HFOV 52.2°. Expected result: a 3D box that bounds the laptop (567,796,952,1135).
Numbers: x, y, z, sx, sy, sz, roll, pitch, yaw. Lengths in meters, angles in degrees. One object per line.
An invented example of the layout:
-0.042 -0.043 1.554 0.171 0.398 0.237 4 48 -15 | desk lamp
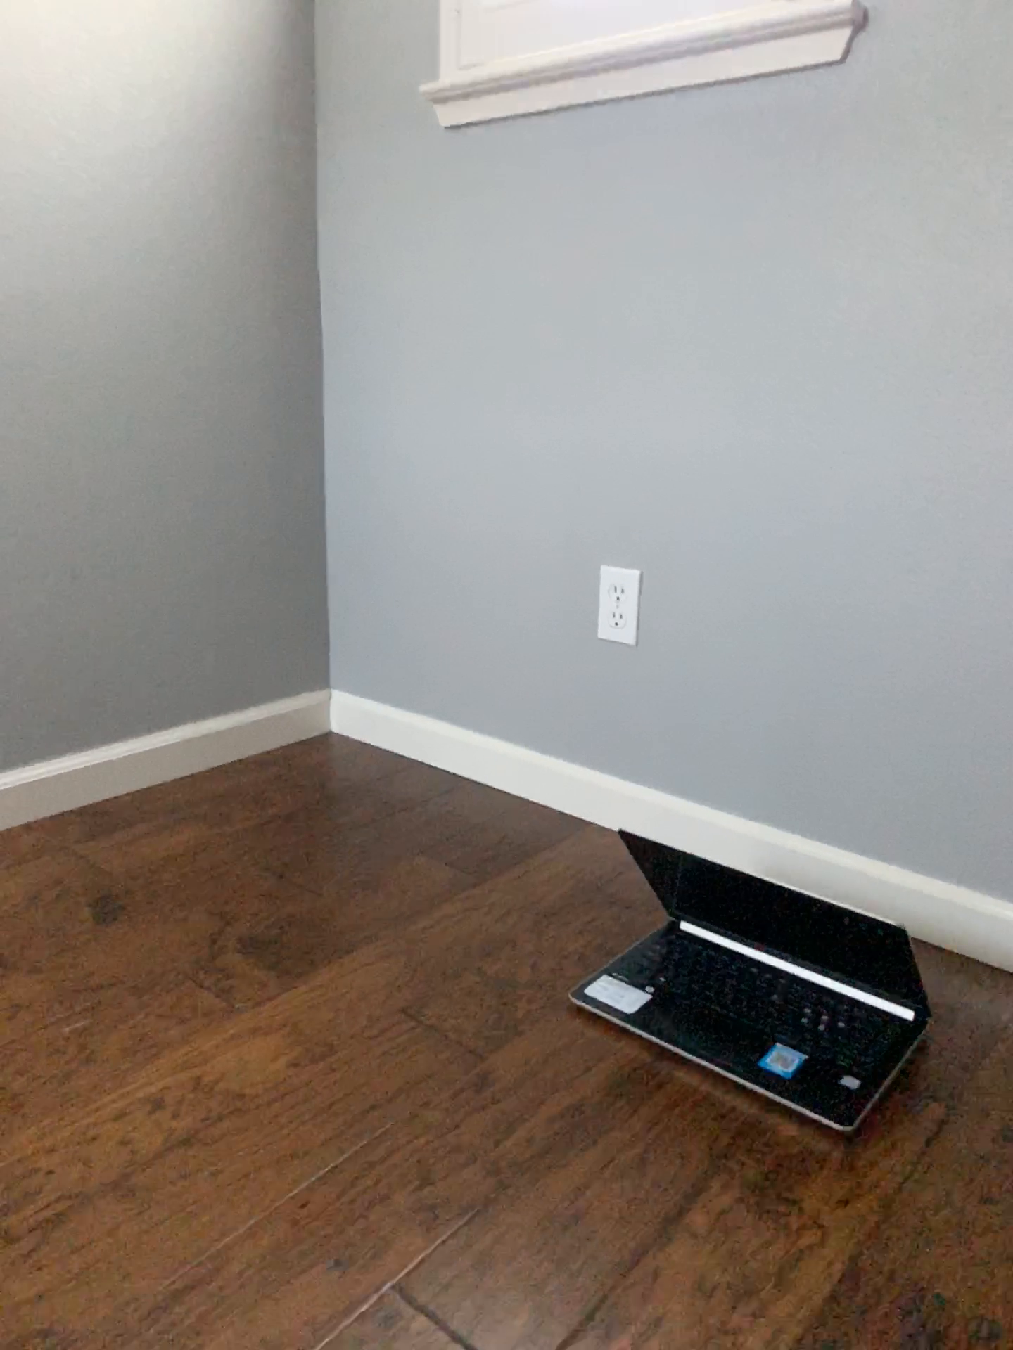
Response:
0.259 0.279 1.084 0.317 0.169 0.220 14 19 37 | laptop
